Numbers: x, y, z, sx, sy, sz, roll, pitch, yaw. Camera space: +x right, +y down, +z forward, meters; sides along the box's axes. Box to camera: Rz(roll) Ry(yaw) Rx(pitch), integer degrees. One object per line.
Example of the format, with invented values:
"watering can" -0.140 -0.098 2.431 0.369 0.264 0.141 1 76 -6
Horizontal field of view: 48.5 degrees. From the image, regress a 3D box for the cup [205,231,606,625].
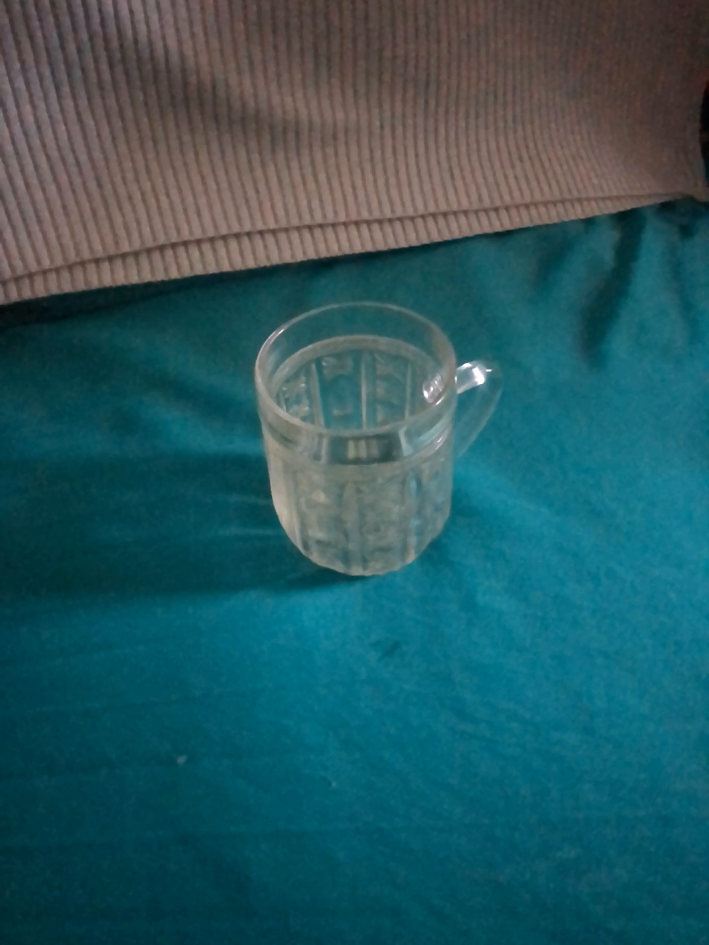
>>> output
"cup" 0.016 -0.016 0.269 0.104 0.076 0.064 -29 58 -21
